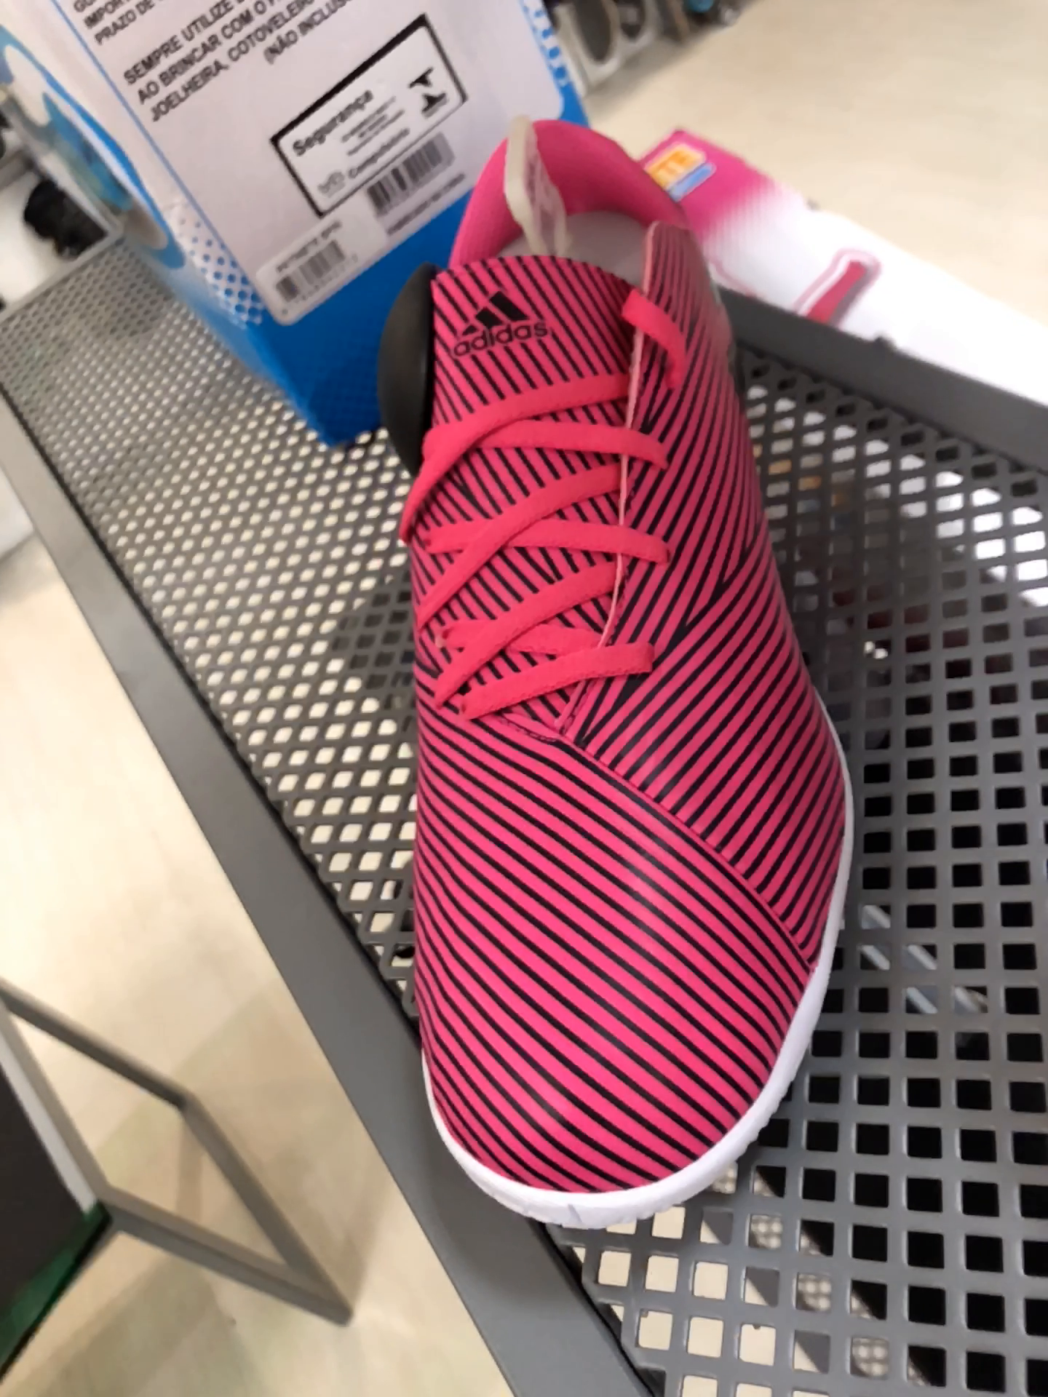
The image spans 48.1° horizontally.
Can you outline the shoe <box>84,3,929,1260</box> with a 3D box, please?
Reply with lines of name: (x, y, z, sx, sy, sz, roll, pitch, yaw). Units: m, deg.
shoe: (0.017, -0.030, 0.259, 0.095, 0.099, 0.261, -12, 48, 23)
